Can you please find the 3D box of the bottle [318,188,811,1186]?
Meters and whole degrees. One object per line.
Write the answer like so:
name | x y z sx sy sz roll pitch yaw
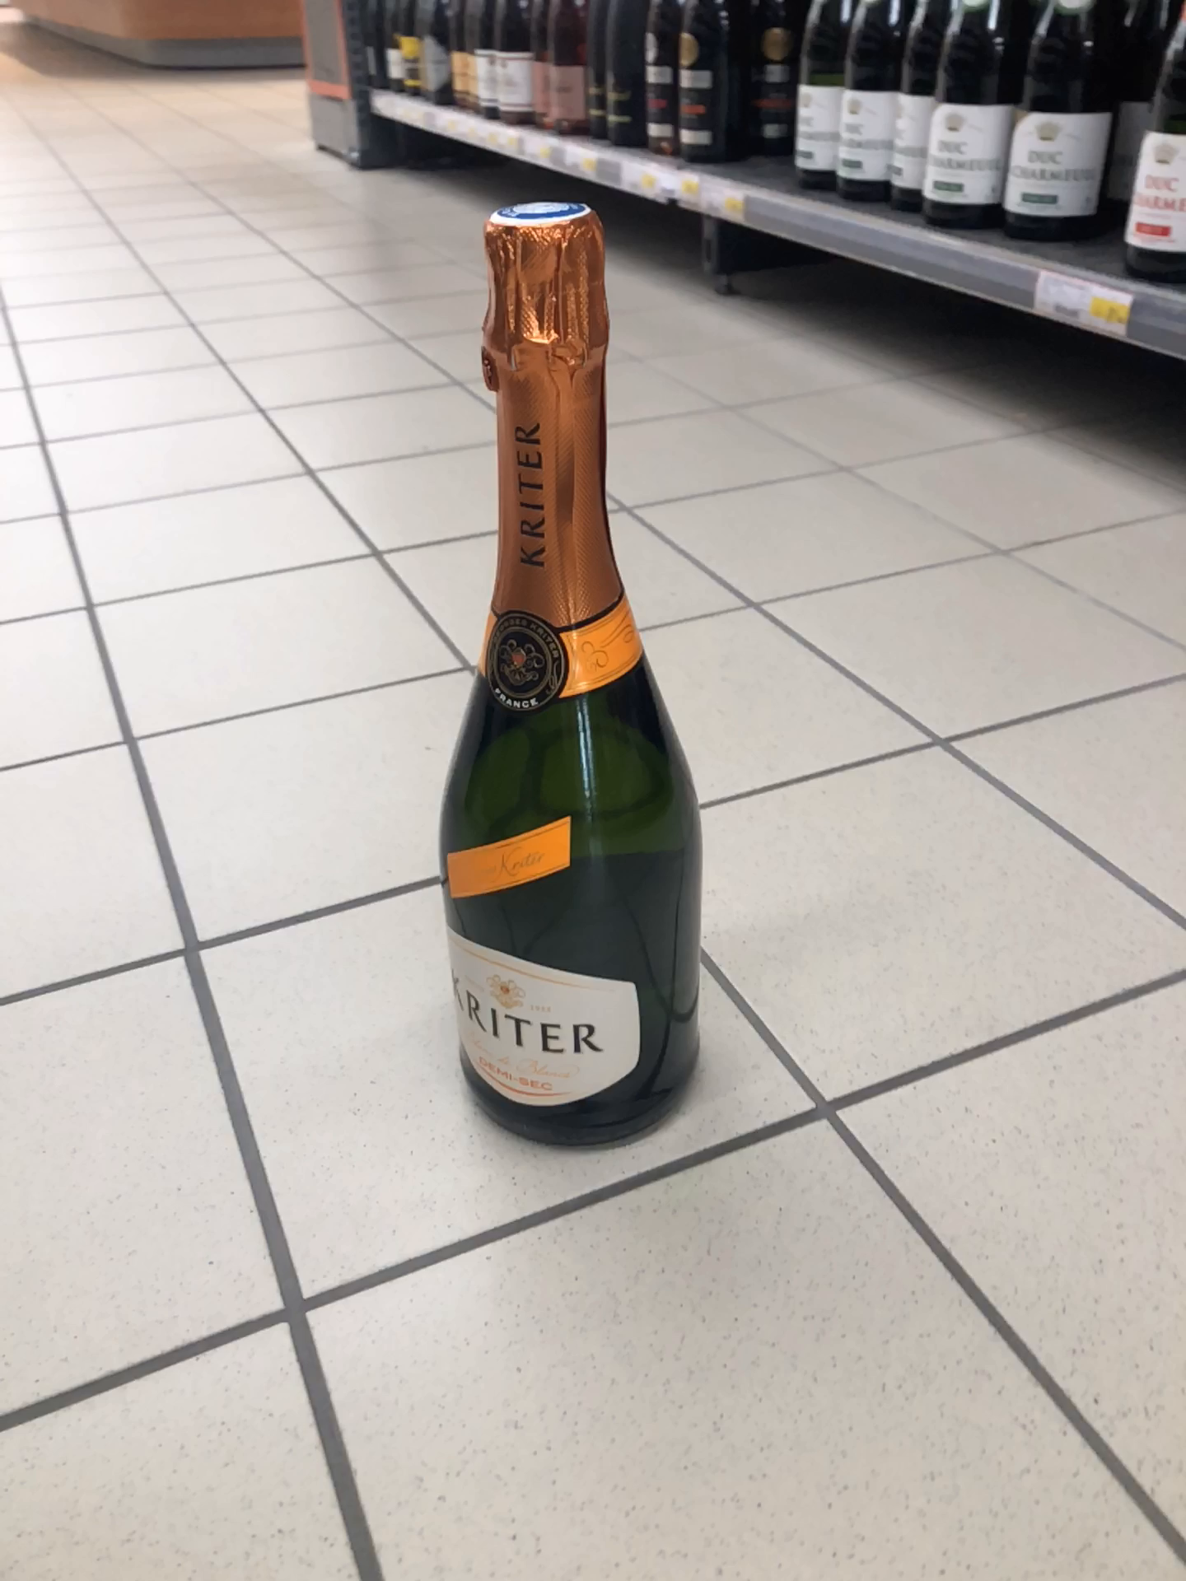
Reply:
bottle | -0.002 -0.028 0.442 0.100 0.308 0.101 -1 30 1
